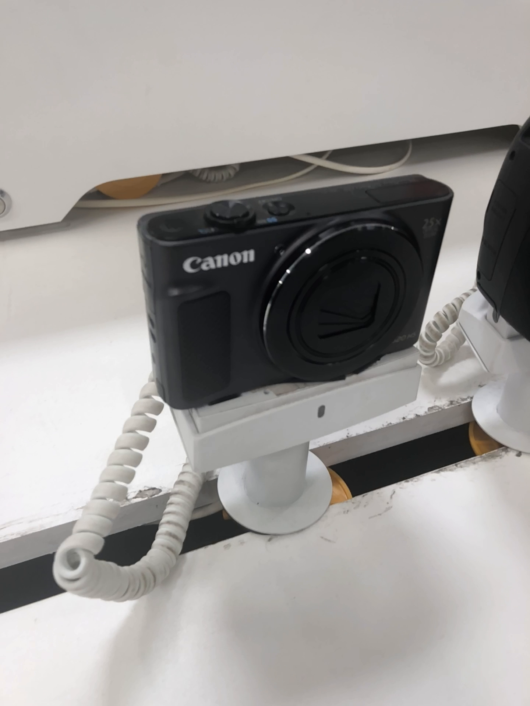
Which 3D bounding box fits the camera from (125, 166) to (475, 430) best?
[{"bbox_3d":[0.010,-0.018,0.178,0.093,0.057,0.025,-14,44,-20],"label":"camera"}]
